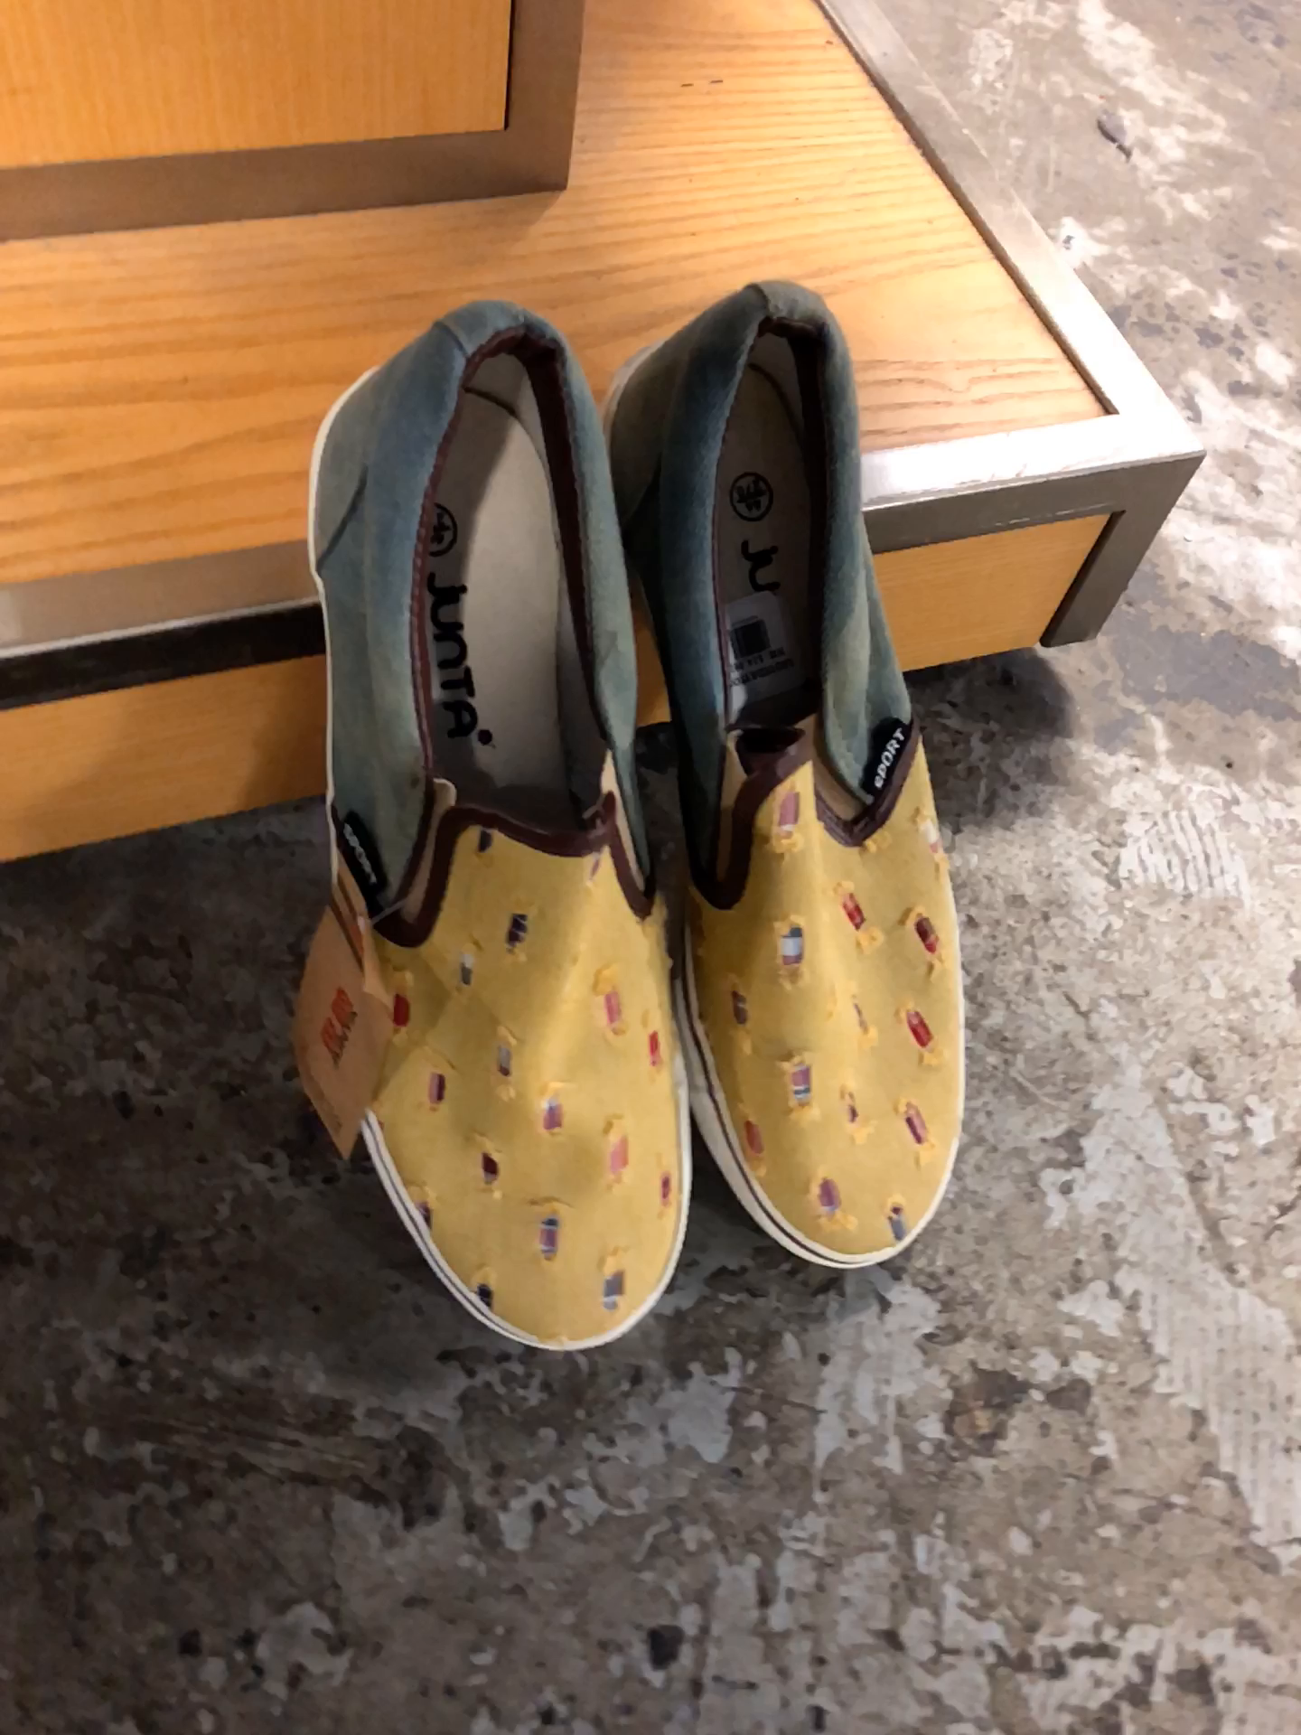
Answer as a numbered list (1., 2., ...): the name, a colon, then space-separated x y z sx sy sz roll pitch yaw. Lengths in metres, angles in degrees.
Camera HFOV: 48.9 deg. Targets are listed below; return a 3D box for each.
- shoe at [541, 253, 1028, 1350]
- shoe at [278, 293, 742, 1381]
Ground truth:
1. shoe: 0.039 -0.018 0.418 0.090 0.279 0.100 -10 17 -10
2. shoe: -0.041 -0.014 0.400 0.090 0.259 0.120 -7 16 -13
